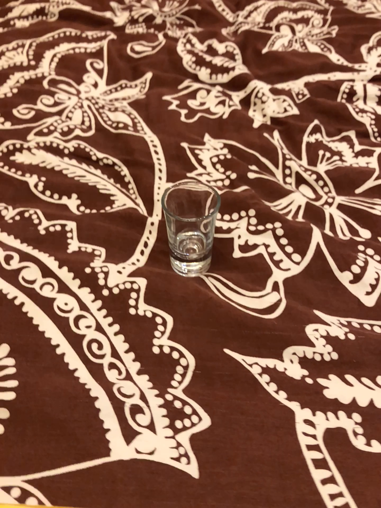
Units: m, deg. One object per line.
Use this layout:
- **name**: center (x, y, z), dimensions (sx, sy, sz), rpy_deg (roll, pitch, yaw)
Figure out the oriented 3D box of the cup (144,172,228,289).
- **cup**: center (-0.002, -0.017, 0.328), dimensions (0.045, 0.070, 0.042), rpy_deg (0, 51, 0)
